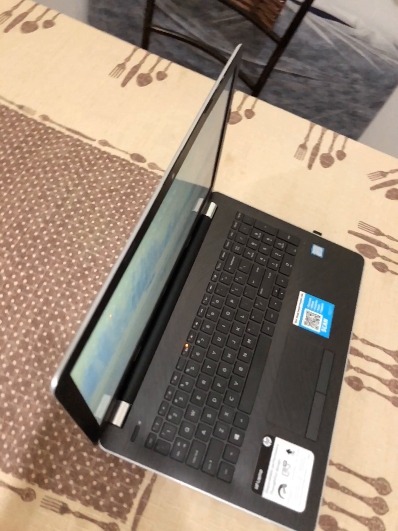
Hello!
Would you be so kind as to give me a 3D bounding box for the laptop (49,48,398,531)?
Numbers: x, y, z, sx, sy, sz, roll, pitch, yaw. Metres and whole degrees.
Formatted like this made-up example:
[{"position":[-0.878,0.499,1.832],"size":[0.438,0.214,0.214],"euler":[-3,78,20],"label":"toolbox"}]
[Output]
[{"position":[0.077,0.030,0.436],"size":[0.267,0.226,0.361],"euler":[23,60,0],"label":"laptop"}]
